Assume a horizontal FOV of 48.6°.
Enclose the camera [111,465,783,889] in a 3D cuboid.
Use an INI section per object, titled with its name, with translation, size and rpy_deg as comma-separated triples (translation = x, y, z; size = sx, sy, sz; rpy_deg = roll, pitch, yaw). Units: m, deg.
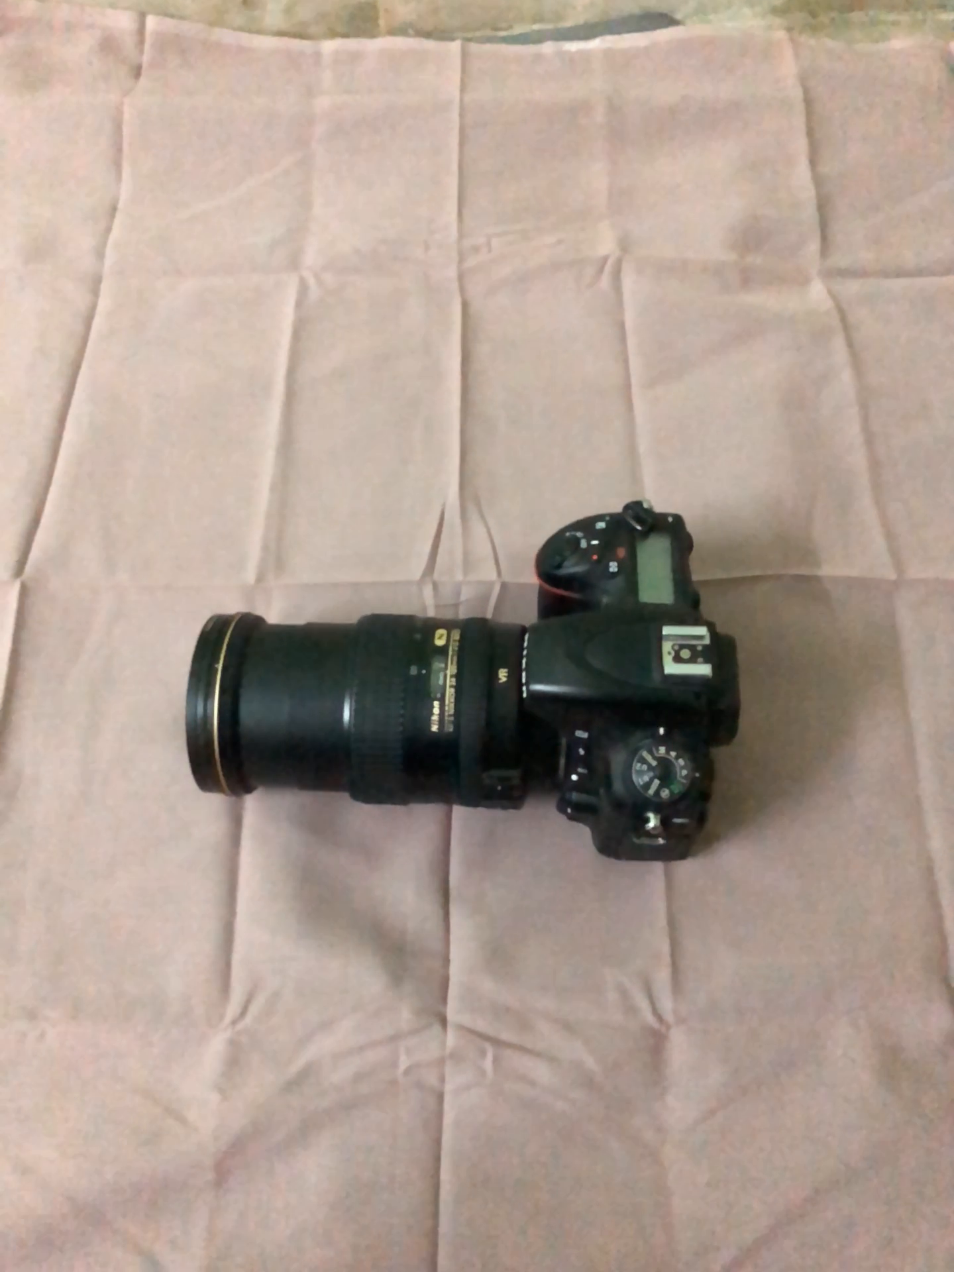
[camera]
translation = -0.008, 0.020, 0.443
size = 0.231, 0.110, 0.139
rpy_deg = 2, 64, 2
